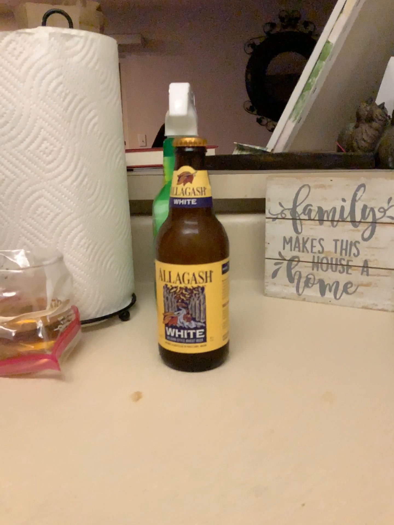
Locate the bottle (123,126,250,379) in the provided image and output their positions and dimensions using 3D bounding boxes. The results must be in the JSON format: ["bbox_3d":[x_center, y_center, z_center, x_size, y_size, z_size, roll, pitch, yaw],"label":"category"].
[{"bbox_3d":[-0.003,-0.012,0.369,0.080,0.190,0.080,-1,13,0],"label":"bottle"}]
